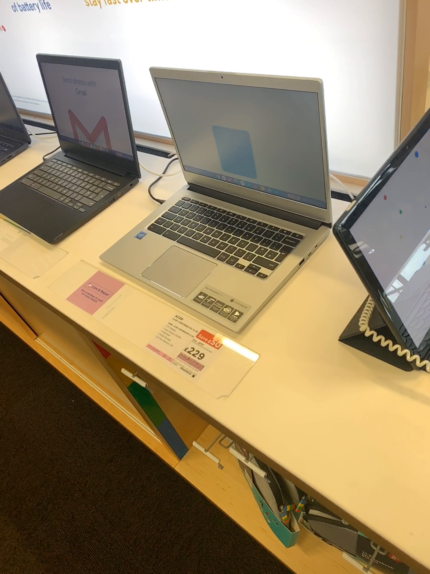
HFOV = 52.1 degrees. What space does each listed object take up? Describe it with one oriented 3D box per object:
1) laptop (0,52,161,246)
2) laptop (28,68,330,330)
[{"bbox_3d":[-0.344,-0.293,0.884,0.309,0.204,0.283,27,62,37],"label":"laptop"},{"bbox_3d":[-0.039,-0.146,0.623,0.304,0.206,0.237,24,58,36],"label":"laptop"}]
